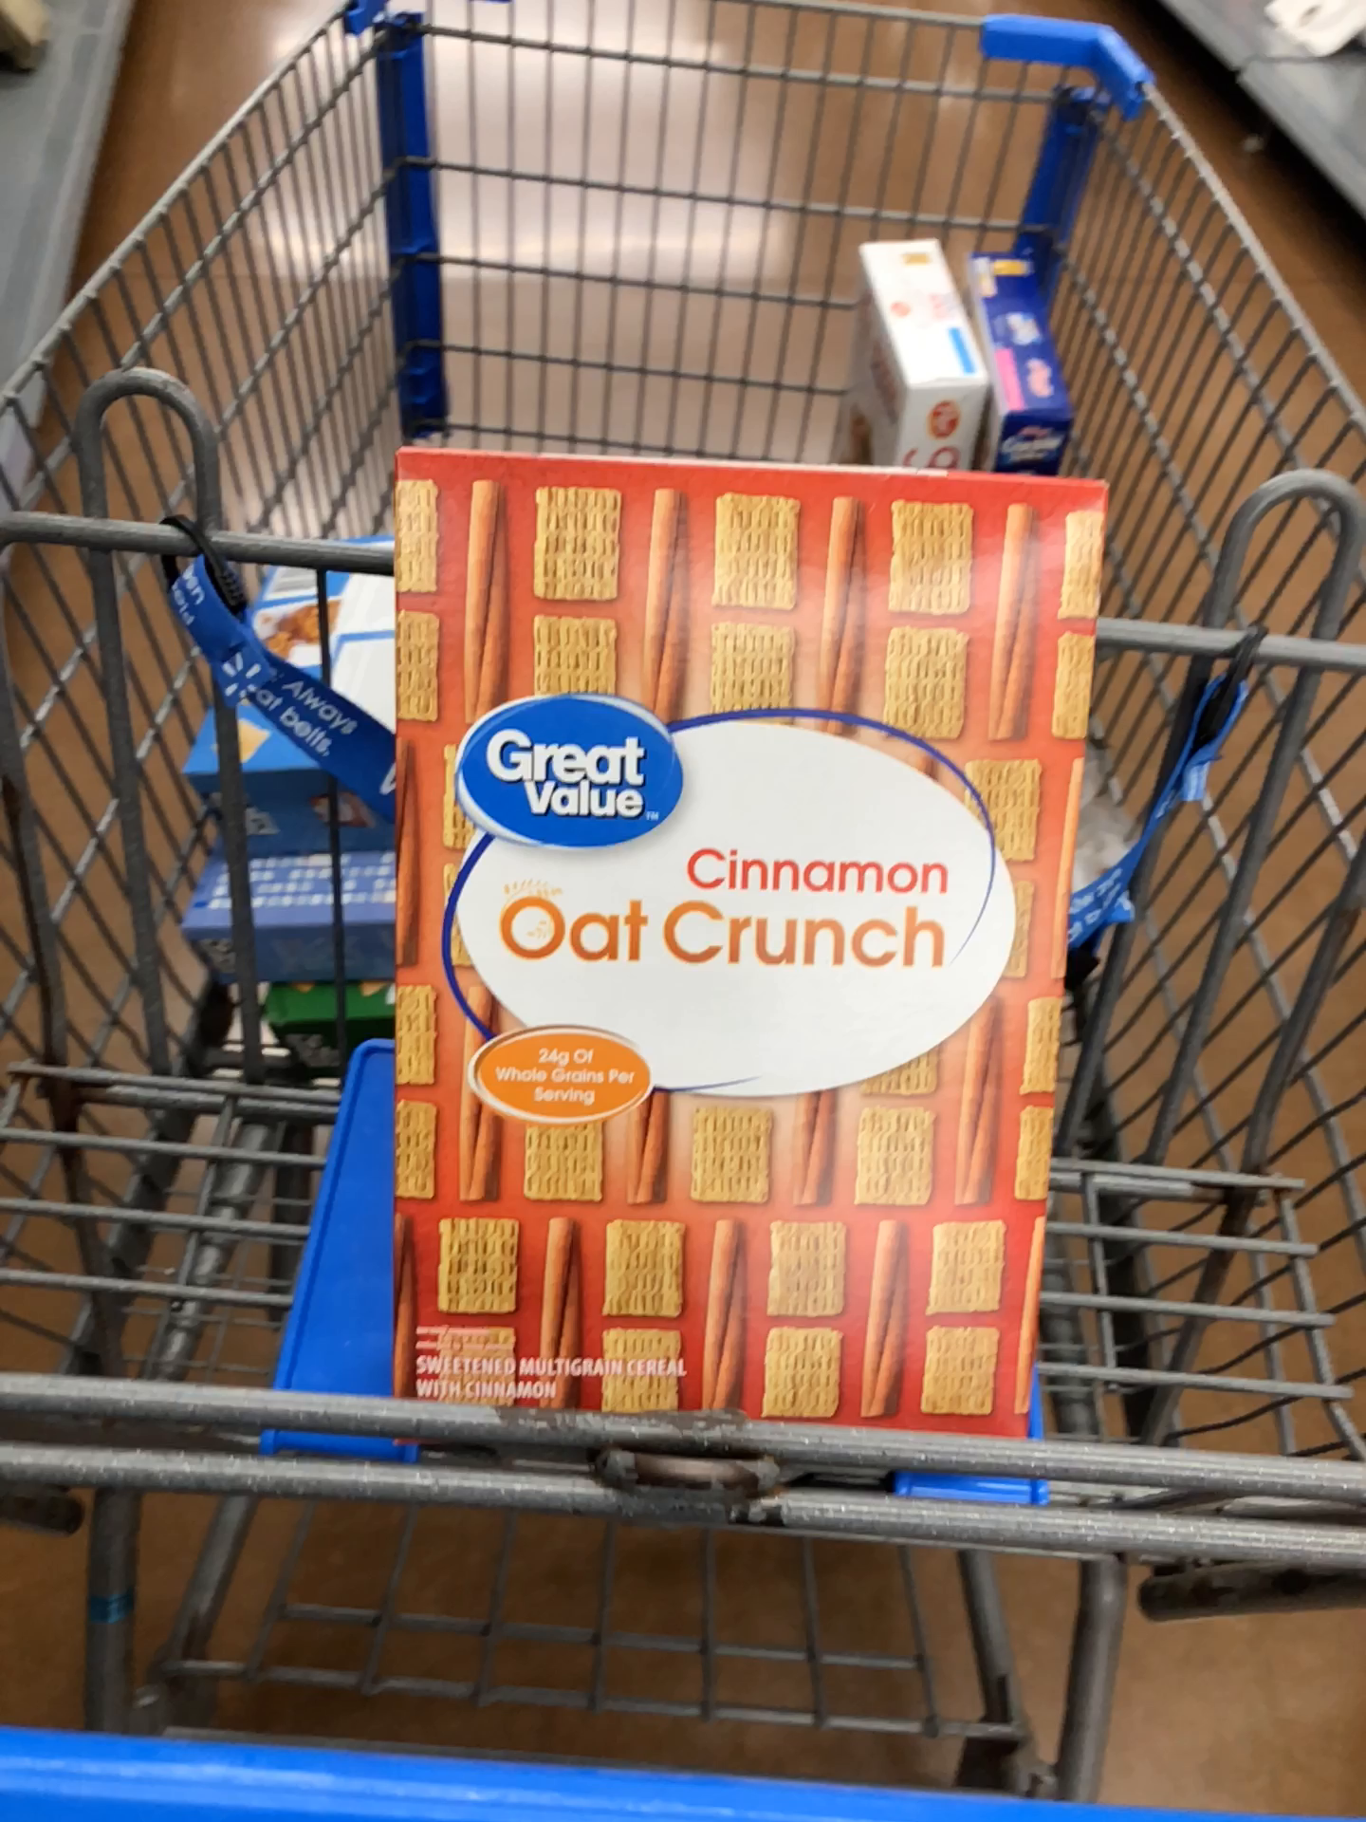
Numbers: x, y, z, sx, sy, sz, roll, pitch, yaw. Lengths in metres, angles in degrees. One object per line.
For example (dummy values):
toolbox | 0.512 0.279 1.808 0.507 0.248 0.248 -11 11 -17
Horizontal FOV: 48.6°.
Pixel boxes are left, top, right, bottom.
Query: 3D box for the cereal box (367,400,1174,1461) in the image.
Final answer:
cereal box | 0.016 0.010 0.434 0.200 0.280 0.070 2 11 -5
